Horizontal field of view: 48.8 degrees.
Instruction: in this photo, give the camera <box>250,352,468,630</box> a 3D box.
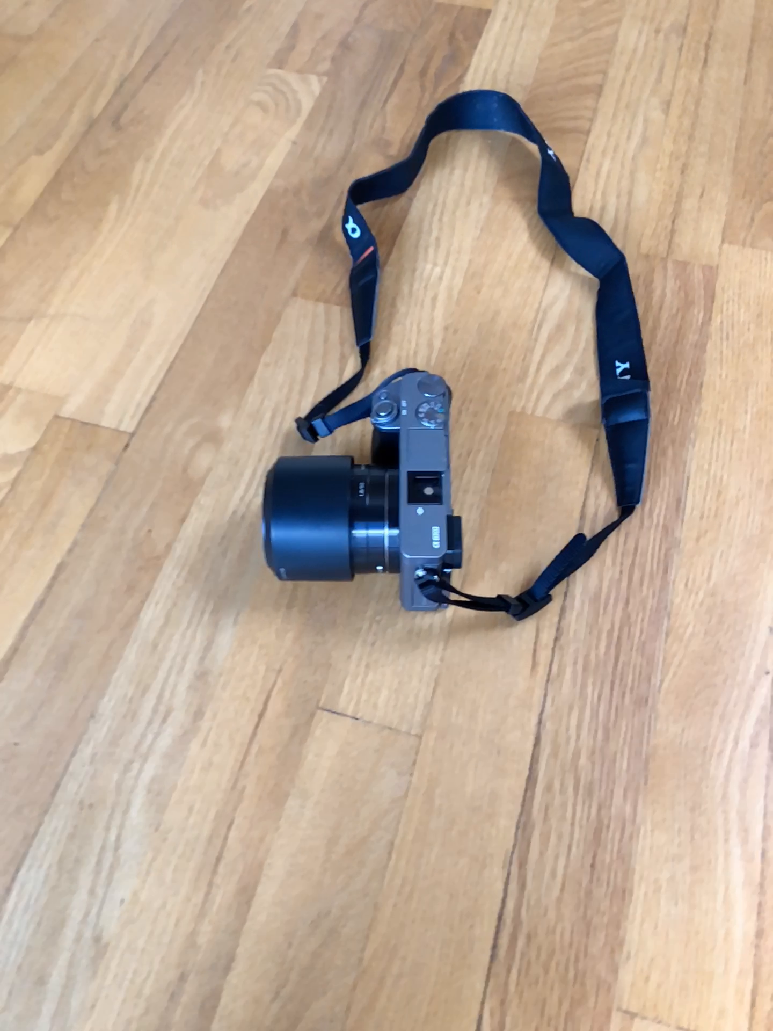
[{"bbox_3d":[-0.014,-0.014,0.485,0.106,0.079,0.136,0,59,0],"label":"camera"}]
